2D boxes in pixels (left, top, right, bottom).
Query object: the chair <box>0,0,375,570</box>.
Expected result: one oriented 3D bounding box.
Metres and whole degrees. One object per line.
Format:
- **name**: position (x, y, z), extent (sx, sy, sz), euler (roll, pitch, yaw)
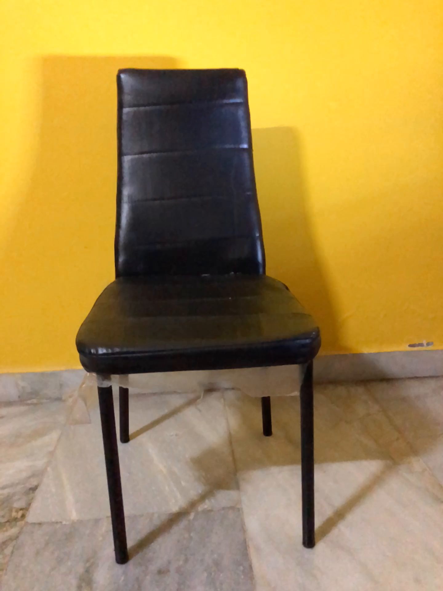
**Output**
- **chair**: position (-0.052, -0.049, 0.980), extent (0.480, 0.906, 0.532), euler (-3, 17, -3)
